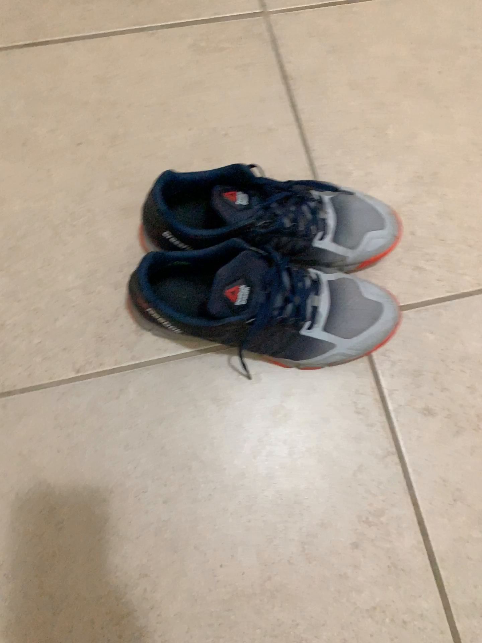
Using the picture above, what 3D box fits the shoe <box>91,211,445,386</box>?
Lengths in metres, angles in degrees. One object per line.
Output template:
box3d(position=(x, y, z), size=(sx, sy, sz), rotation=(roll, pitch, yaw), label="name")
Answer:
box3d(position=(0.027, -0.015, 0.513), size=(0.314, 0.134, 0.109), rotation=(7, 74, -1), label="shoe")

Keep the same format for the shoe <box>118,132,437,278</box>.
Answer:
box3d(position=(0.033, -0.120, 0.539), size=(0.304, 0.122, 0.104), rotation=(0, 74, -3), label="shoe")
